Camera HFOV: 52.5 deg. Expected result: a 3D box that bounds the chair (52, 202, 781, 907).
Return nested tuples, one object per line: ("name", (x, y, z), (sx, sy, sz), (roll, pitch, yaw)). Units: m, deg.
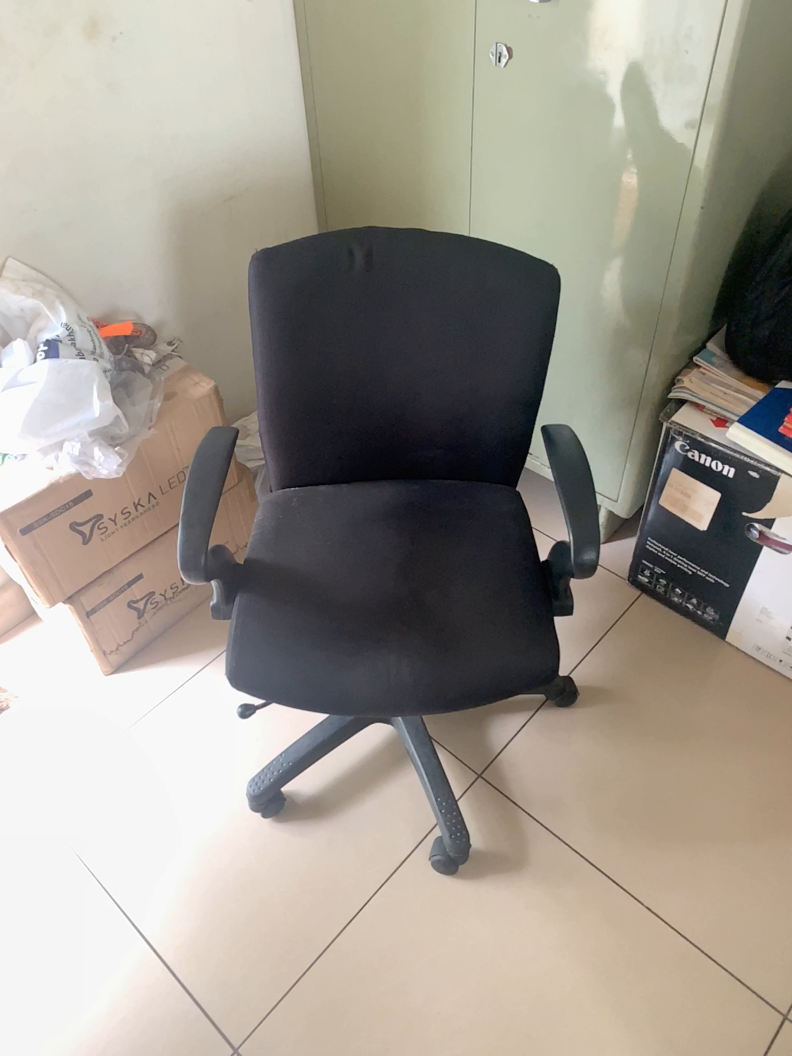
("chair", (0.021, 0.082, 1.346), (0.700, 0.926, 0.703), (-3, 46, 0))
